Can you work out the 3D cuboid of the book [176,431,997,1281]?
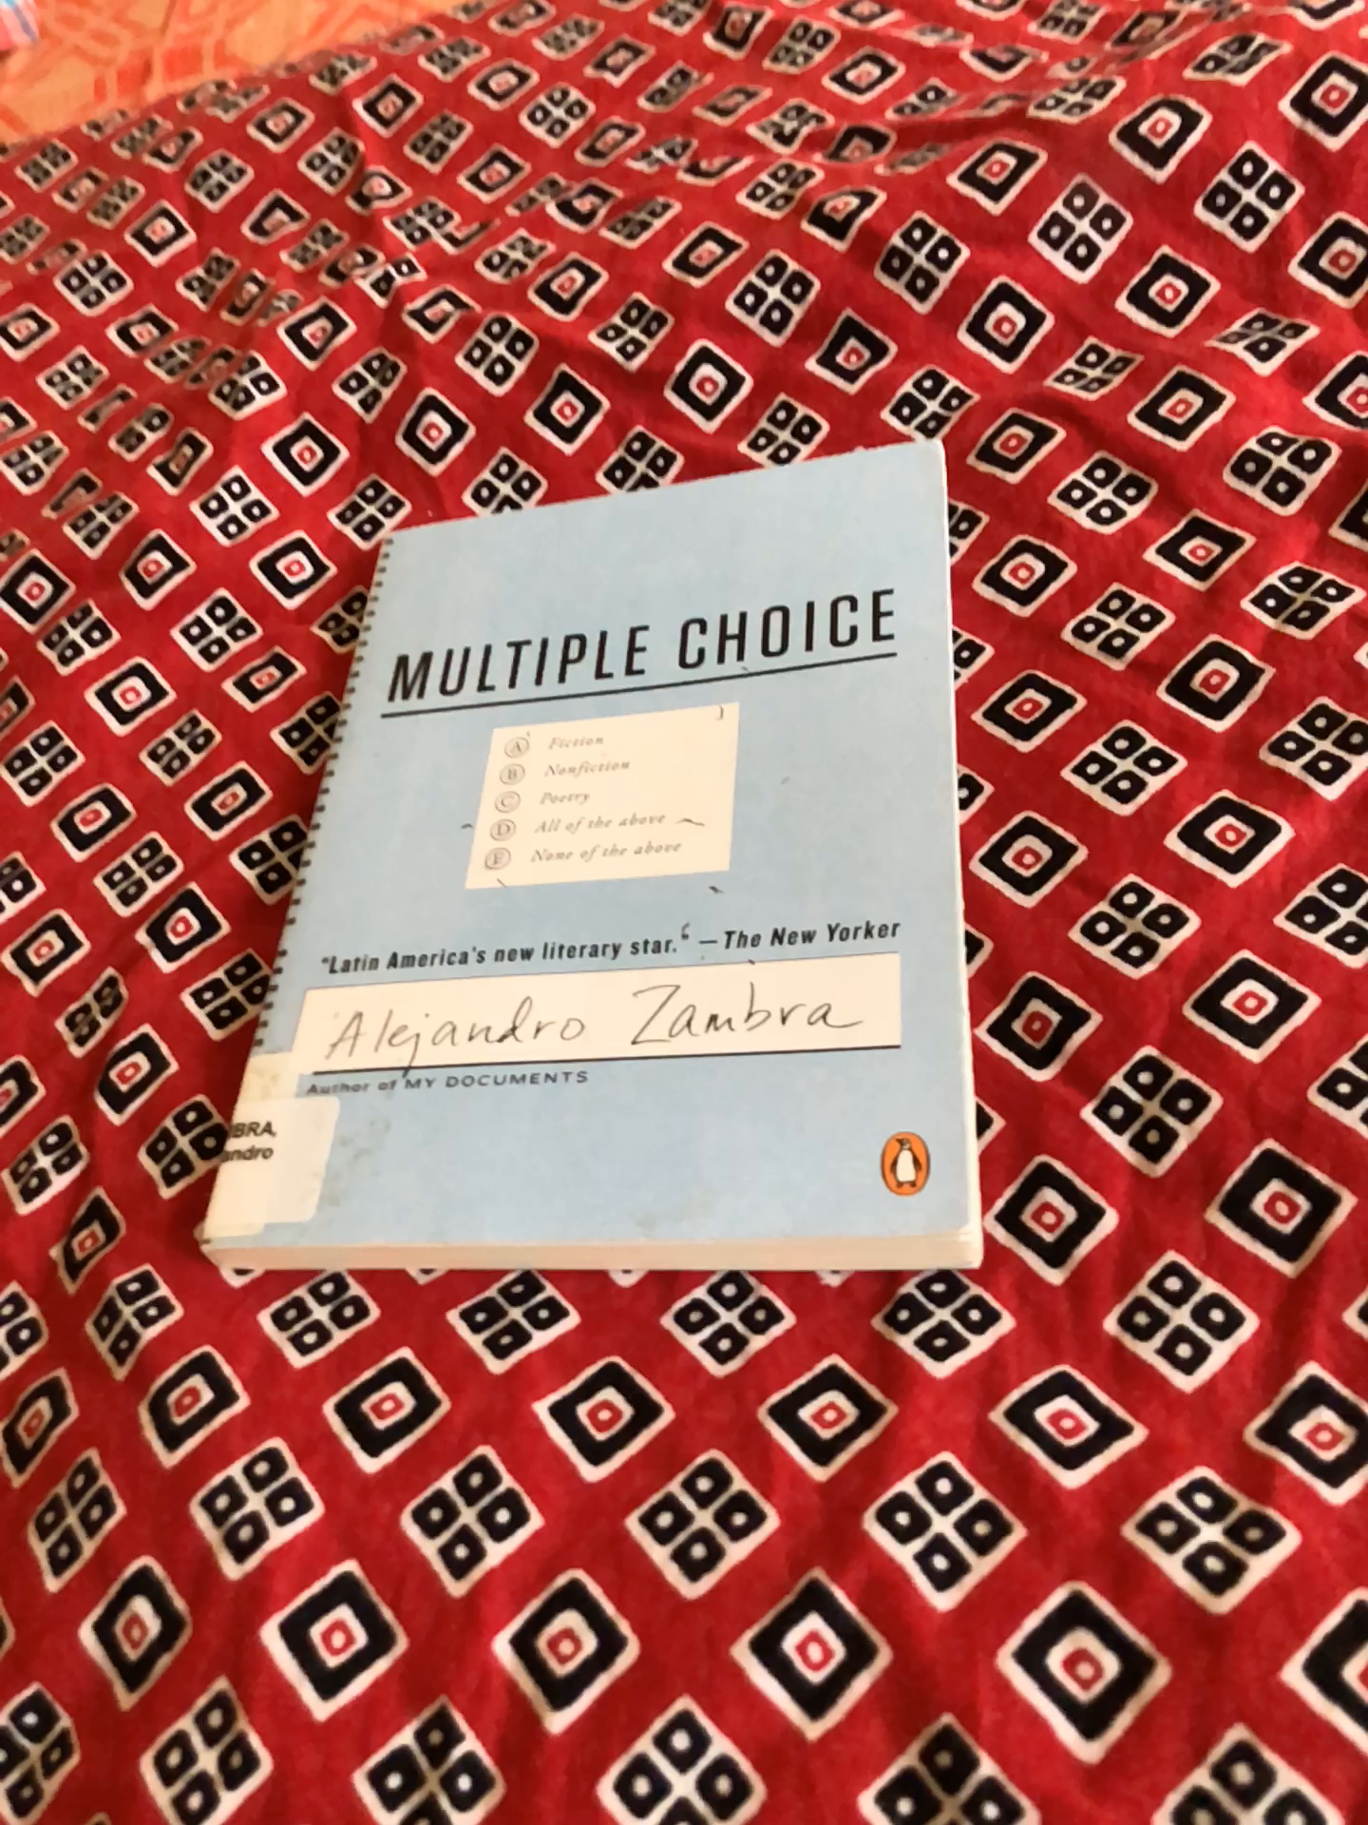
[{"bbox_3d":[-0.012,-0.018,0.294,0.133,0.020,0.176,-4,56,12],"label":"book"}]
